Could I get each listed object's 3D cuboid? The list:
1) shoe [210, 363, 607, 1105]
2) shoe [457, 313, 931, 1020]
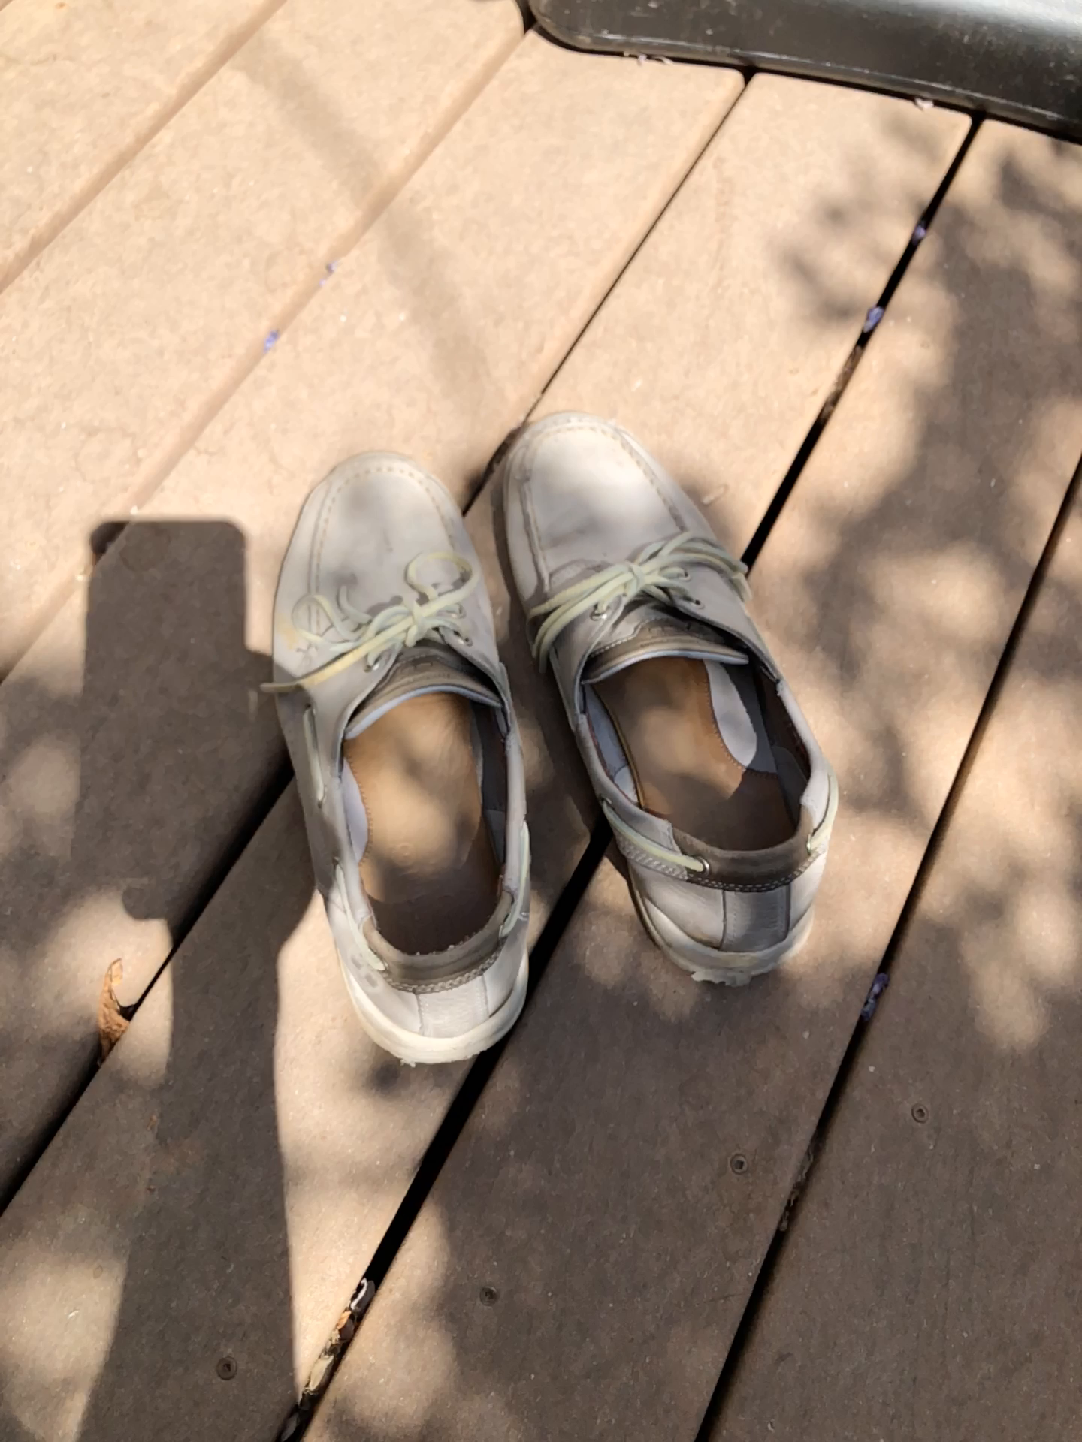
[{"bbox_3d":[-0.063,-0.005,0.503,0.109,0.076,0.294,-9,66,-9],"label":"shoe"},{"bbox_3d":[0.051,-0.034,0.526,0.109,0.076,0.294,-12,66,-10],"label":"shoe"}]
